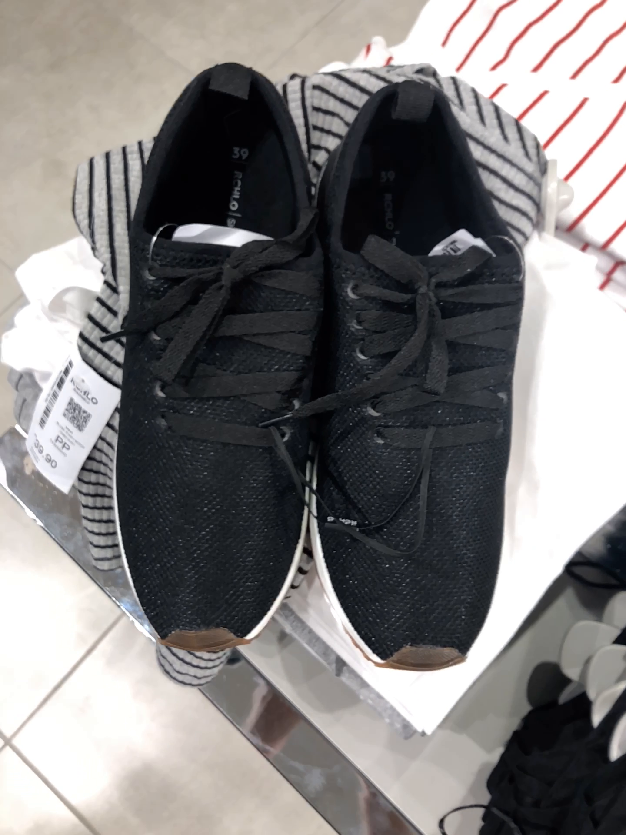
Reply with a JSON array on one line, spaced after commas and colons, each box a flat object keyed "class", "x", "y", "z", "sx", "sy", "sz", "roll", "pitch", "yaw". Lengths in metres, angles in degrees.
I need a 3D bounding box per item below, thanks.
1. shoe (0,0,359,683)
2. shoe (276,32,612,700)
[{"class": "shoe", "x": -0.042, "y": -0.032, "z": 0.313, "sx": 0.100, "sy": 0.120, "sz": 0.260, "roll": 4, "pitch": 77, "yaw": 1}, {"class": "shoe", "x": 0.038, "y": -0.022, "z": 0.319, "sx": 0.100, "sy": 0.120, "sz": 0.270, "roll": -2, "pitch": 70, "yaw": -1}]
